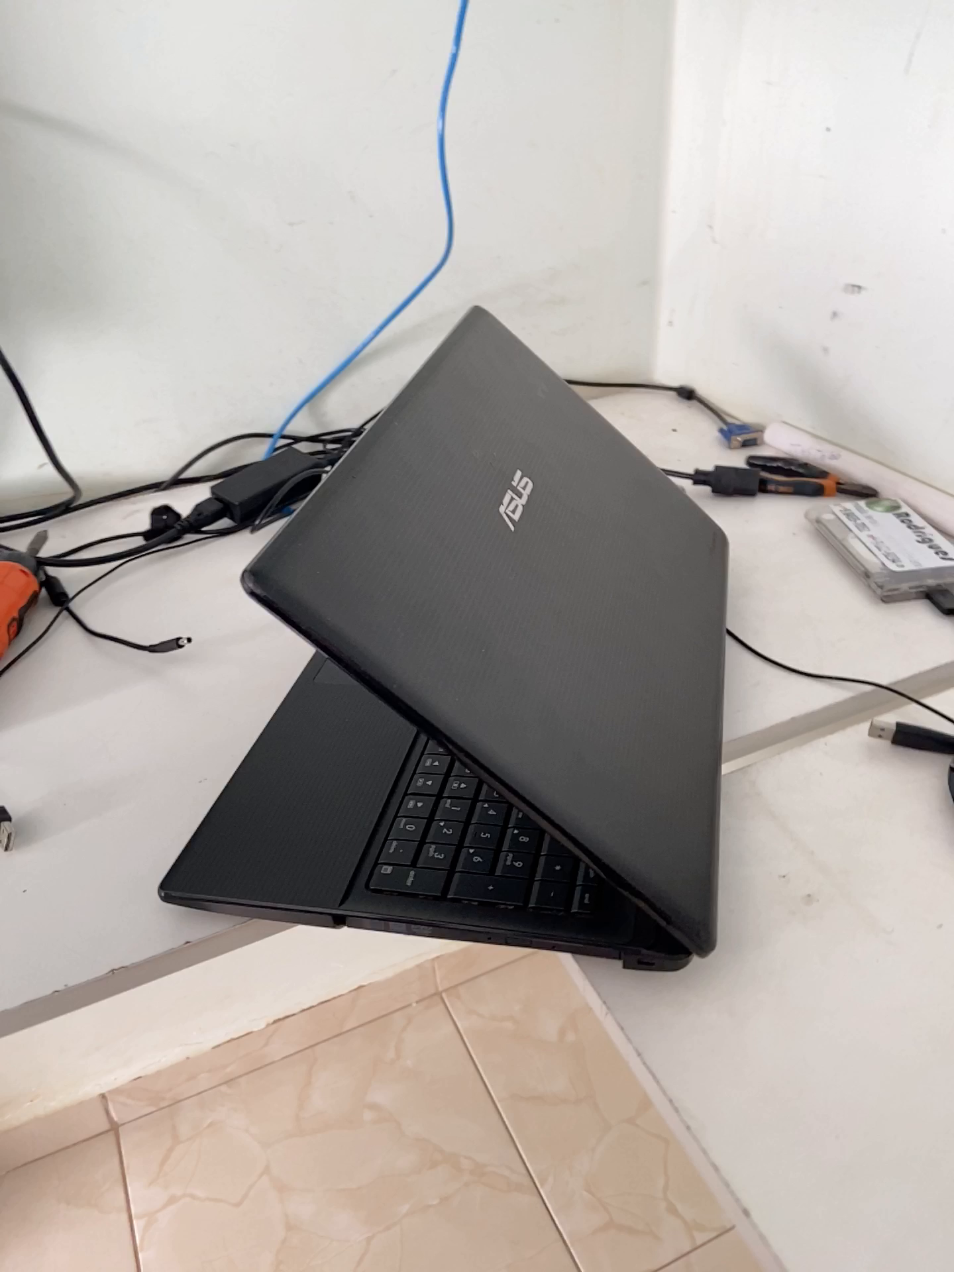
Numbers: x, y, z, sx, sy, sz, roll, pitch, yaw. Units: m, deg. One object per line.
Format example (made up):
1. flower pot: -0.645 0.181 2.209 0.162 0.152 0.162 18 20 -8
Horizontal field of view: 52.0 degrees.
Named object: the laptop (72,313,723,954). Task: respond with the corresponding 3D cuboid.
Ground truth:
1. laptop: 0.001 -0.043 0.557 0.246 0.166 0.378 3 33 14
